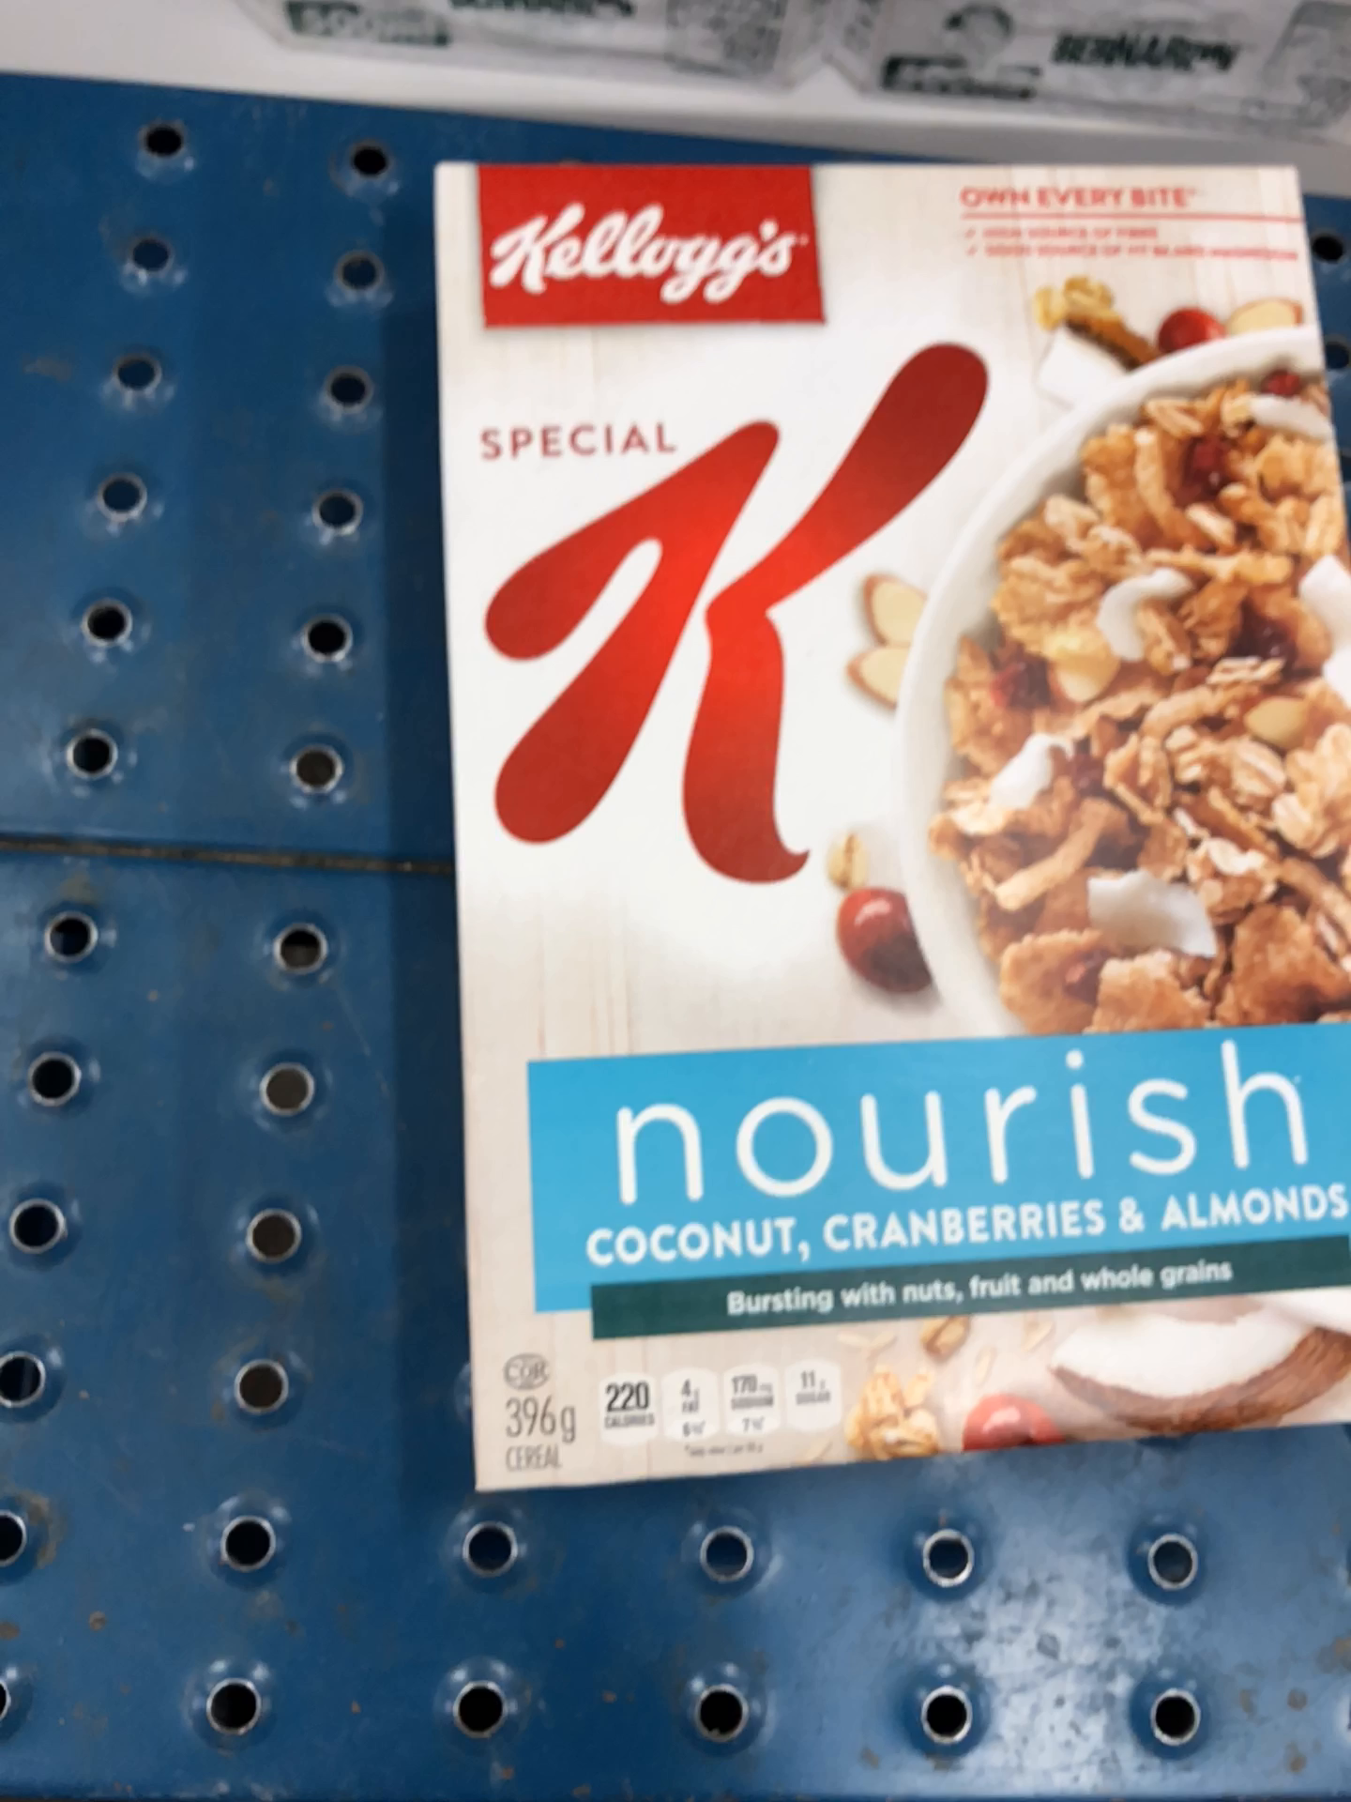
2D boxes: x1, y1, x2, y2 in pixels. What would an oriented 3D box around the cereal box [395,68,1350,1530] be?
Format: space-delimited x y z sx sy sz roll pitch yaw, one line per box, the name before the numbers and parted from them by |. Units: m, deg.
cereal box | 0.054 -0.033 0.327 0.210 0.050 0.290 -3 80 -6
